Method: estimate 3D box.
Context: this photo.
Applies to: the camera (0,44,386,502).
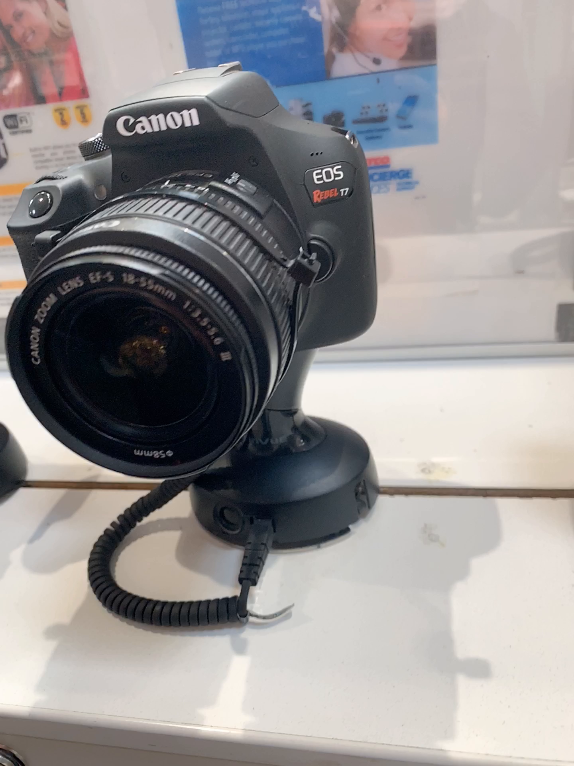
[{"bbox_3d":[-0.033,-0.040,0.192,0.122,0.104,0.110,-1,29,11],"label":"camera"}]
